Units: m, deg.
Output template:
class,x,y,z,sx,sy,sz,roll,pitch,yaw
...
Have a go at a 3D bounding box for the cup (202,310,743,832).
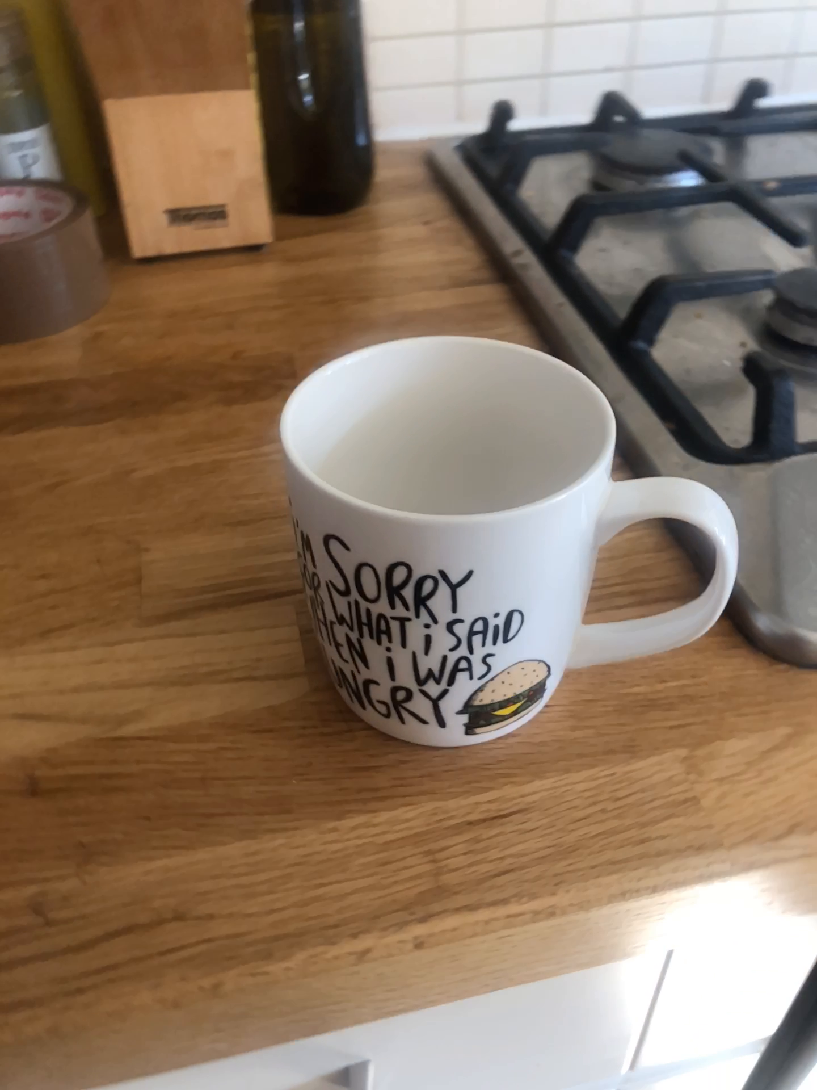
class,x,y,z,sx,sy,sz,roll,pitch,yaw
cup,0.022,0.002,0.256,0.114,0.087,0.091,12,42,16
